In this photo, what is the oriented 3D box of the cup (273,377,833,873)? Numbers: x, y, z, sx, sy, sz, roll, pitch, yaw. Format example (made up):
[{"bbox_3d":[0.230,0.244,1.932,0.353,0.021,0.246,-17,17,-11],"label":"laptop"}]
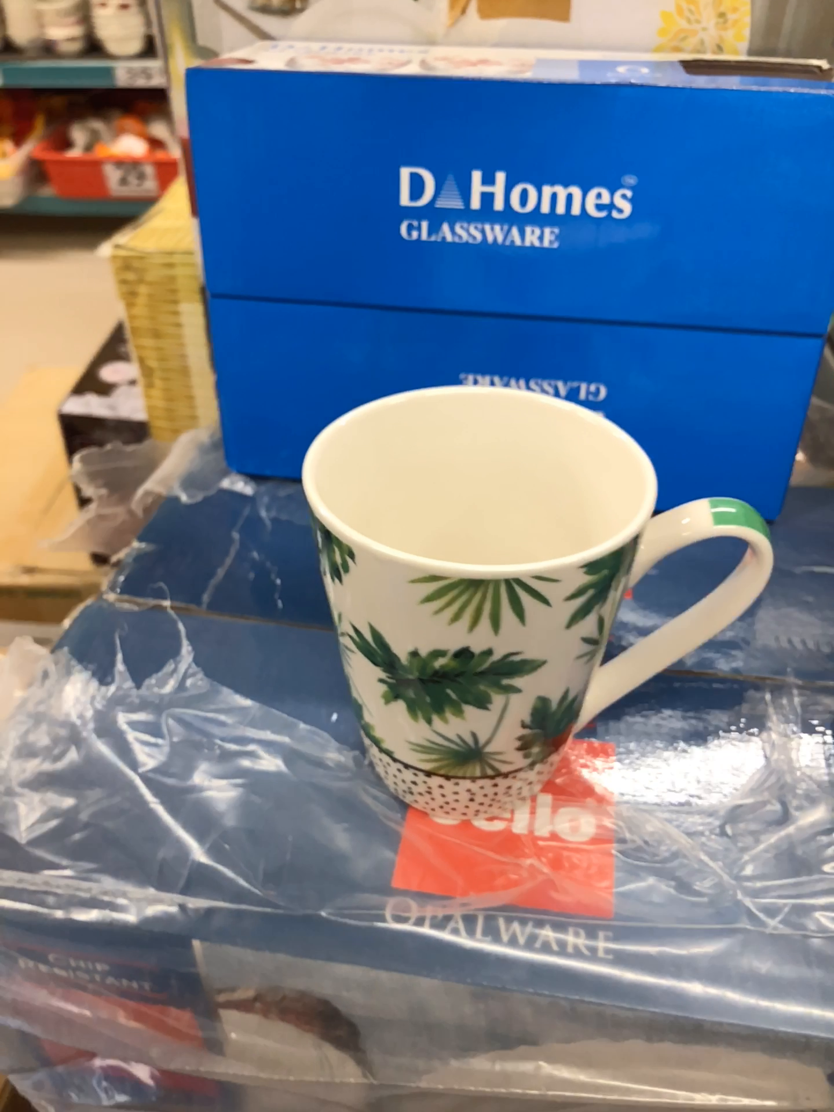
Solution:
[{"bbox_3d":[0.031,0.018,0.251,0.120,0.099,0.081,-2,39,-1],"label":"cup"}]
